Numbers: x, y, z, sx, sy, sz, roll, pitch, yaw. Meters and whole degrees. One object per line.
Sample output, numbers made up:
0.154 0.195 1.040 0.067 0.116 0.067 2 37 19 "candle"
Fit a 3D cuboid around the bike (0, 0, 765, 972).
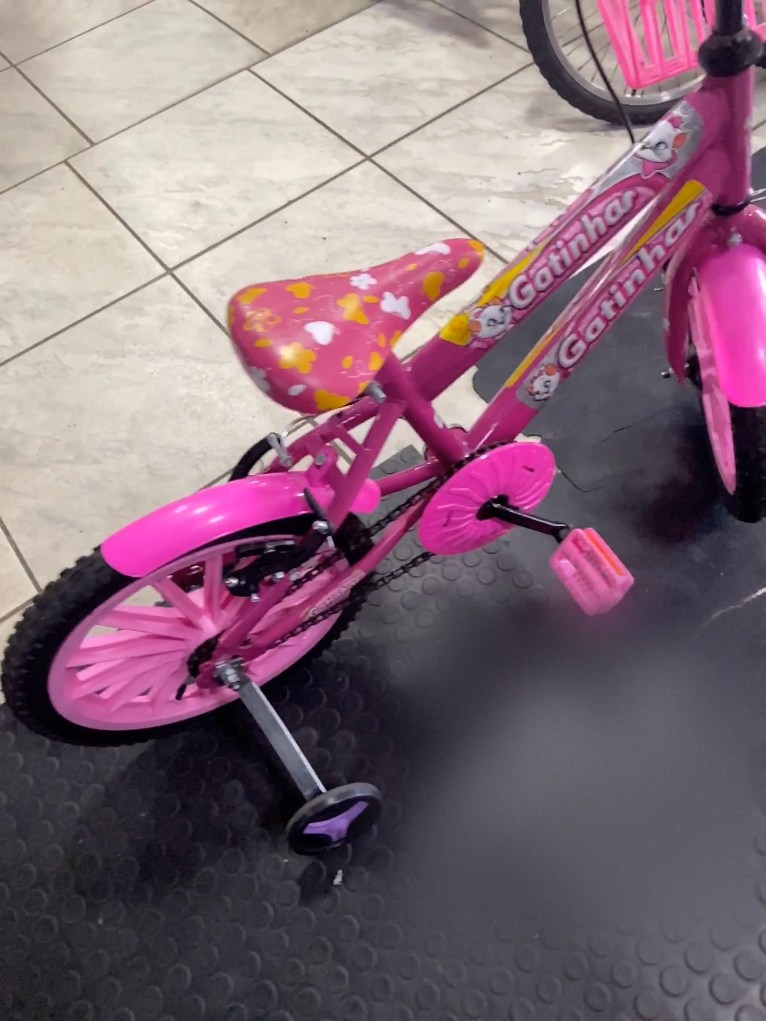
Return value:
0.021 -0.155 0.715 0.940 0.790 0.467 -34 60 -15 "bike"
